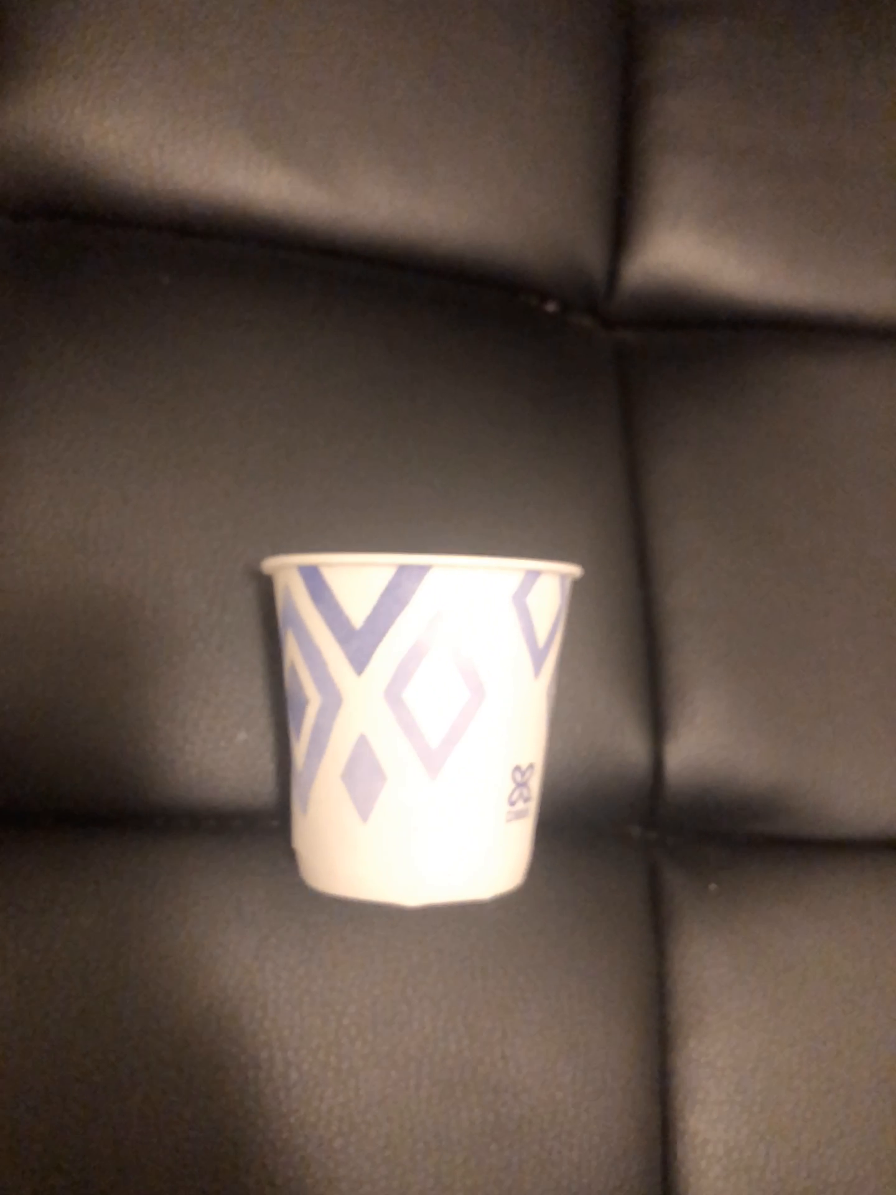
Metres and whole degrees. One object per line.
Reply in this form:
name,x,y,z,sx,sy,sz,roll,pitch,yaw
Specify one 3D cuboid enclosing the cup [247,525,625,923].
cup,-0.005,0.020,0.180,0.052,0.049,0.058,3,90,-16
